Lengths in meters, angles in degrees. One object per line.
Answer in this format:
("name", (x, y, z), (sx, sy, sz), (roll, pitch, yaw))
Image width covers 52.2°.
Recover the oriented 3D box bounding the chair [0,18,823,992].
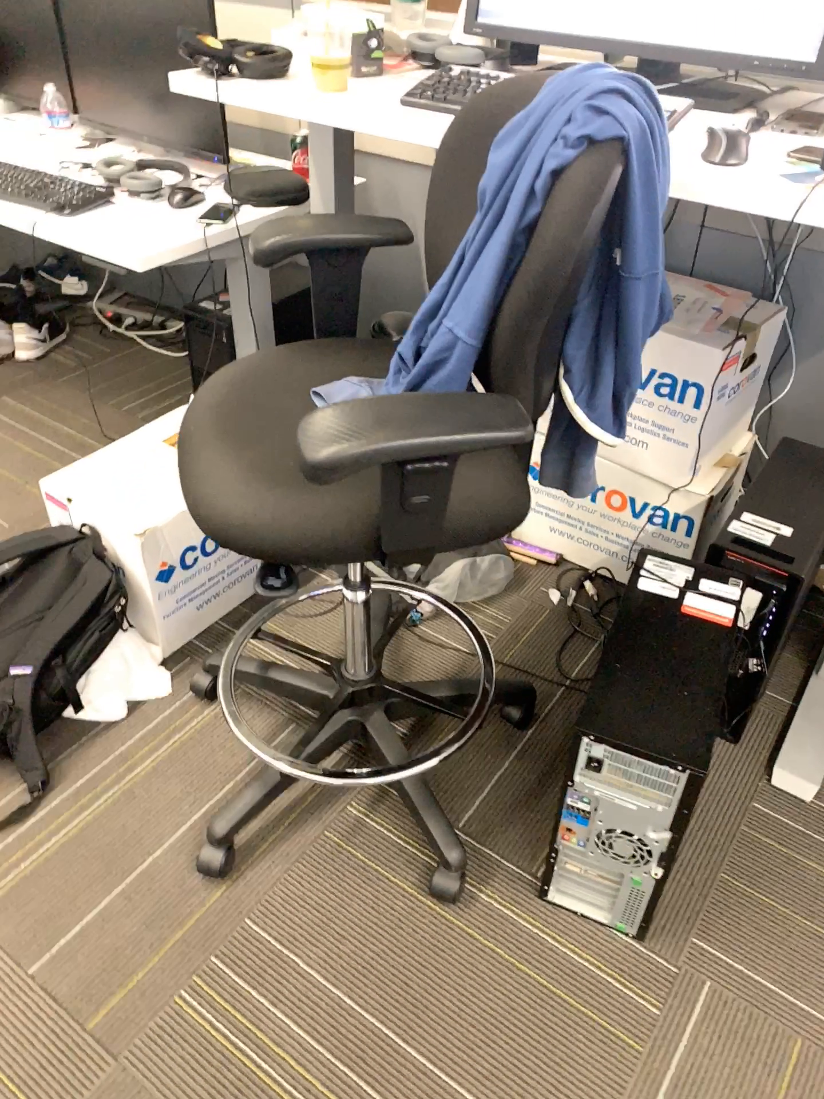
("chair", (-0.067, -0.087, 1.256), (0.740, 1.103, 0.755), (-12, 41, -17))
